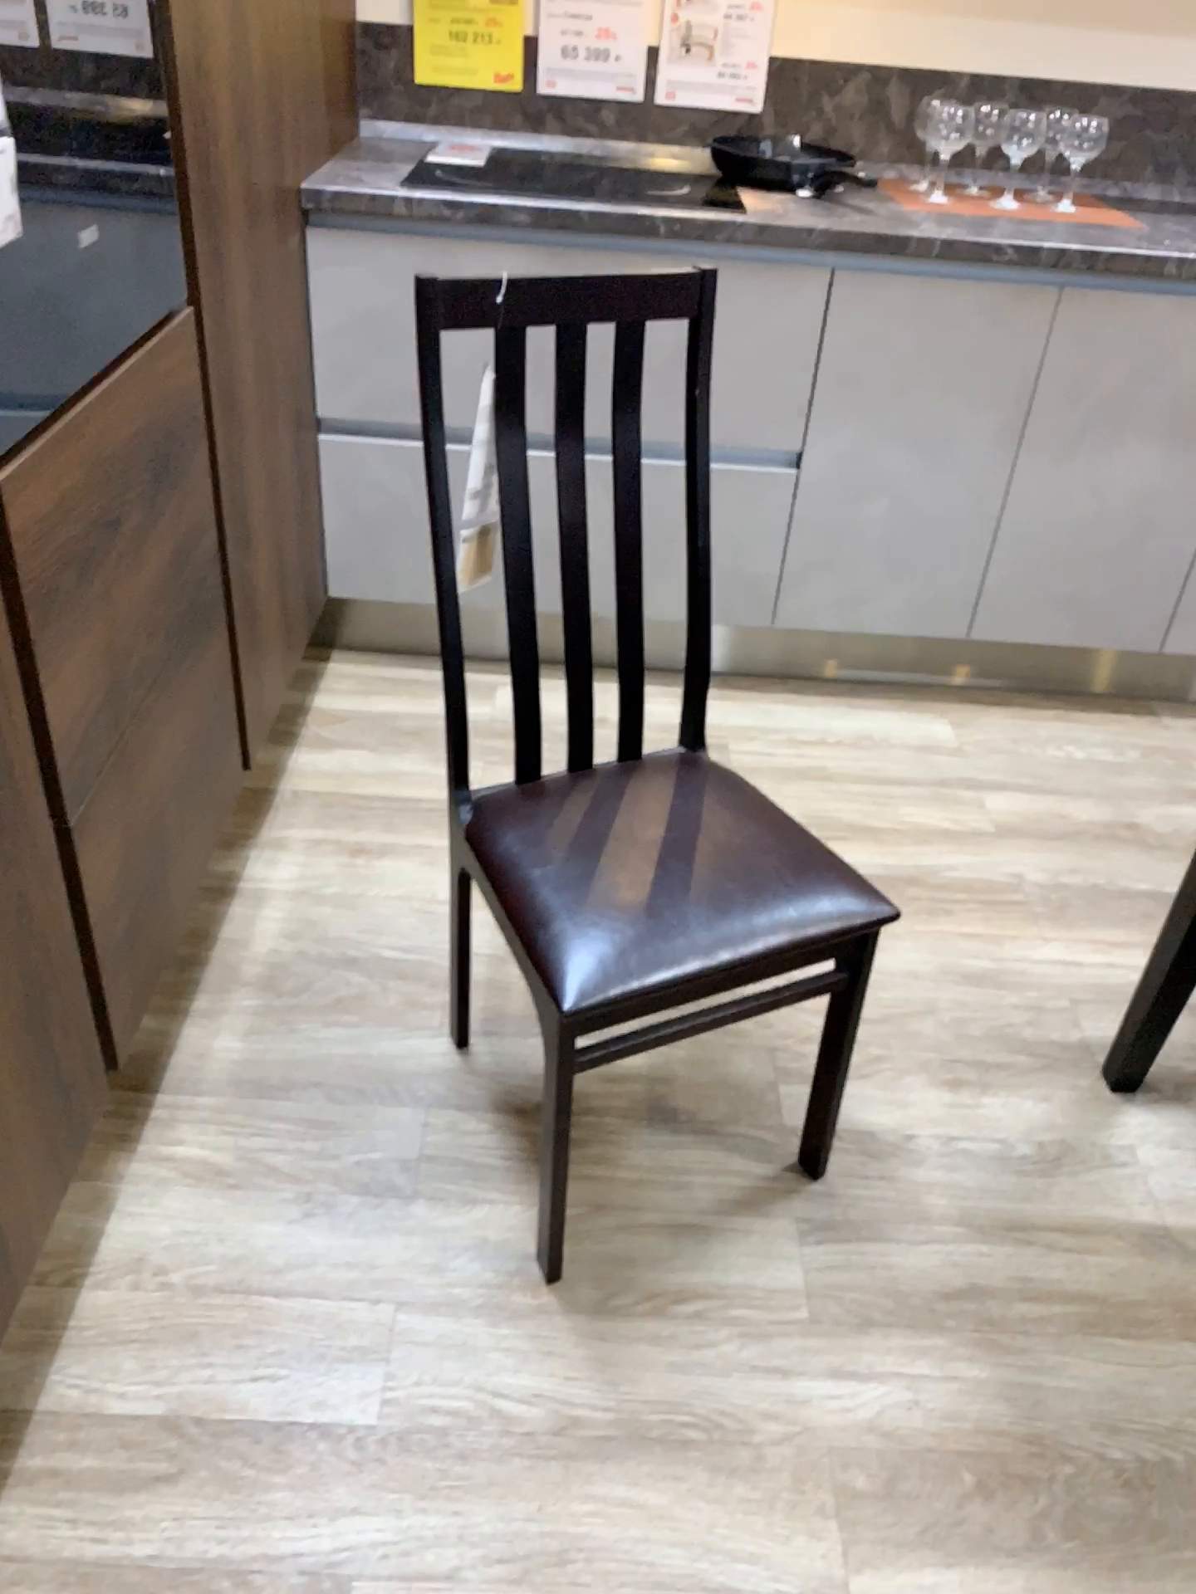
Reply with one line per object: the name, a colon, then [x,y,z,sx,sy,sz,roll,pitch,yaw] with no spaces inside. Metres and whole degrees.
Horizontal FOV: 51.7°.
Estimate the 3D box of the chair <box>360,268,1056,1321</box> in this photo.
chair: [0.036,0.000,1.411,0.431,1.014,0.522,-13,38,-24]
